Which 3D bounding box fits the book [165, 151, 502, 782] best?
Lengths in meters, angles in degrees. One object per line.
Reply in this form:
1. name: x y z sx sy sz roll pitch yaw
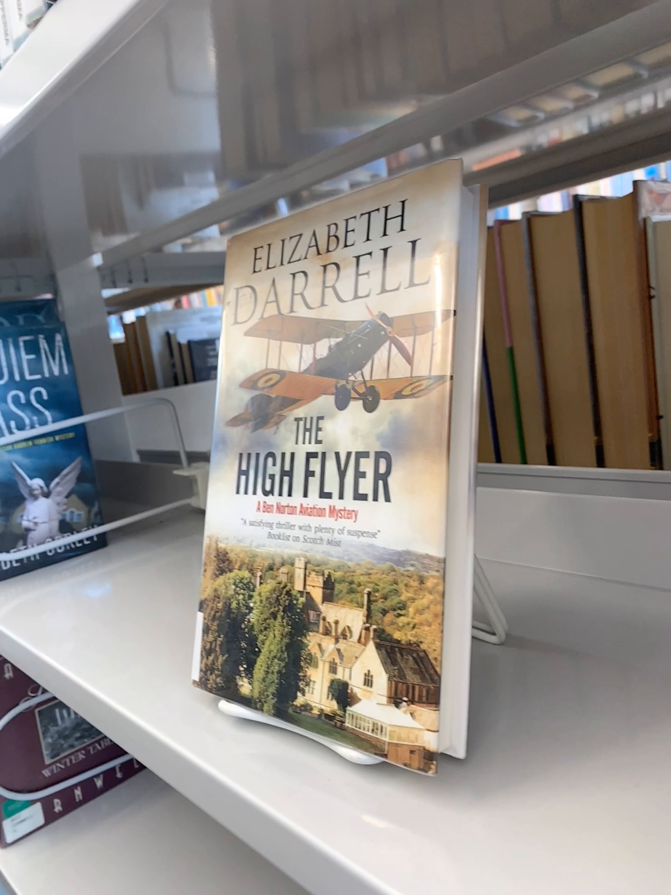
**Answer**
1. book: -0.008 0.004 0.298 0.151 0.215 0.031 -1 -6 42
